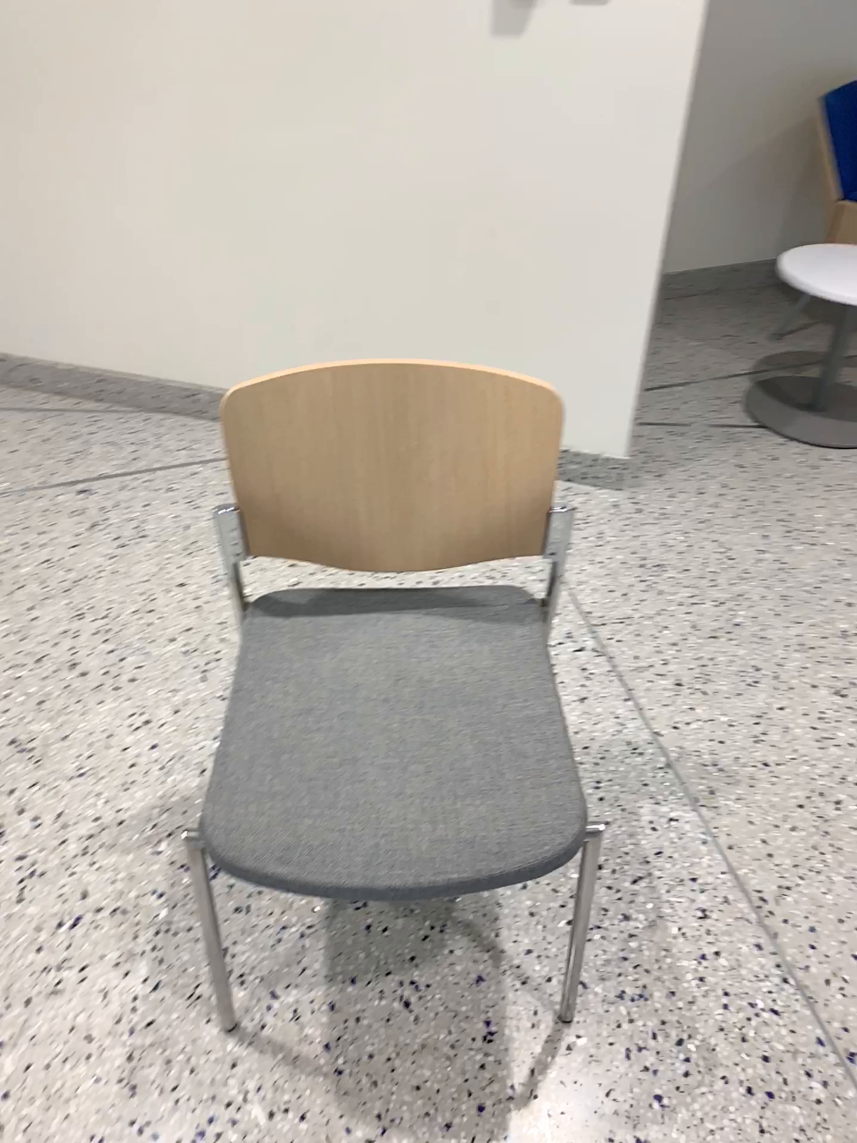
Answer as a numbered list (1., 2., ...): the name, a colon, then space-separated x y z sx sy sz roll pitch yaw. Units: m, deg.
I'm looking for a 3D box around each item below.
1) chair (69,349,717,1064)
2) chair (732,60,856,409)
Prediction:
1. chair: -0.036 0.186 1.196 0.537 0.768 0.597 0 38 -1
2. chair: 1.583 -1.123 2.818 0.764 0.758 0.772 27 45 29
